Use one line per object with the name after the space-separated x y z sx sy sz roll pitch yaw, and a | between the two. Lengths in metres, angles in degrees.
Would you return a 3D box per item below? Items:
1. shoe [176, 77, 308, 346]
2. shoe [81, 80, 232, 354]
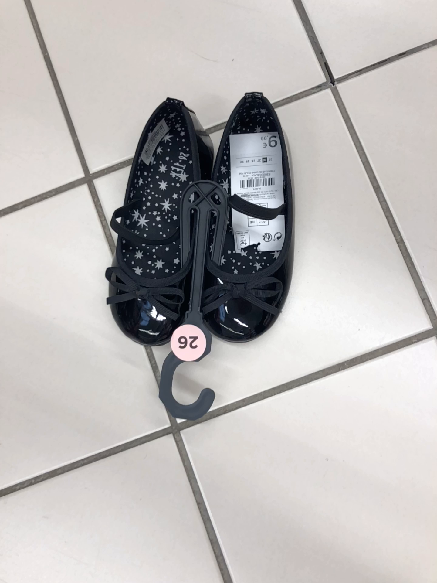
0.018 -0.051 0.332 0.074 0.055 0.171 3 84 5 | shoe
-0.038 -0.048 0.339 0.072 0.059 0.173 6 84 5 | shoe
